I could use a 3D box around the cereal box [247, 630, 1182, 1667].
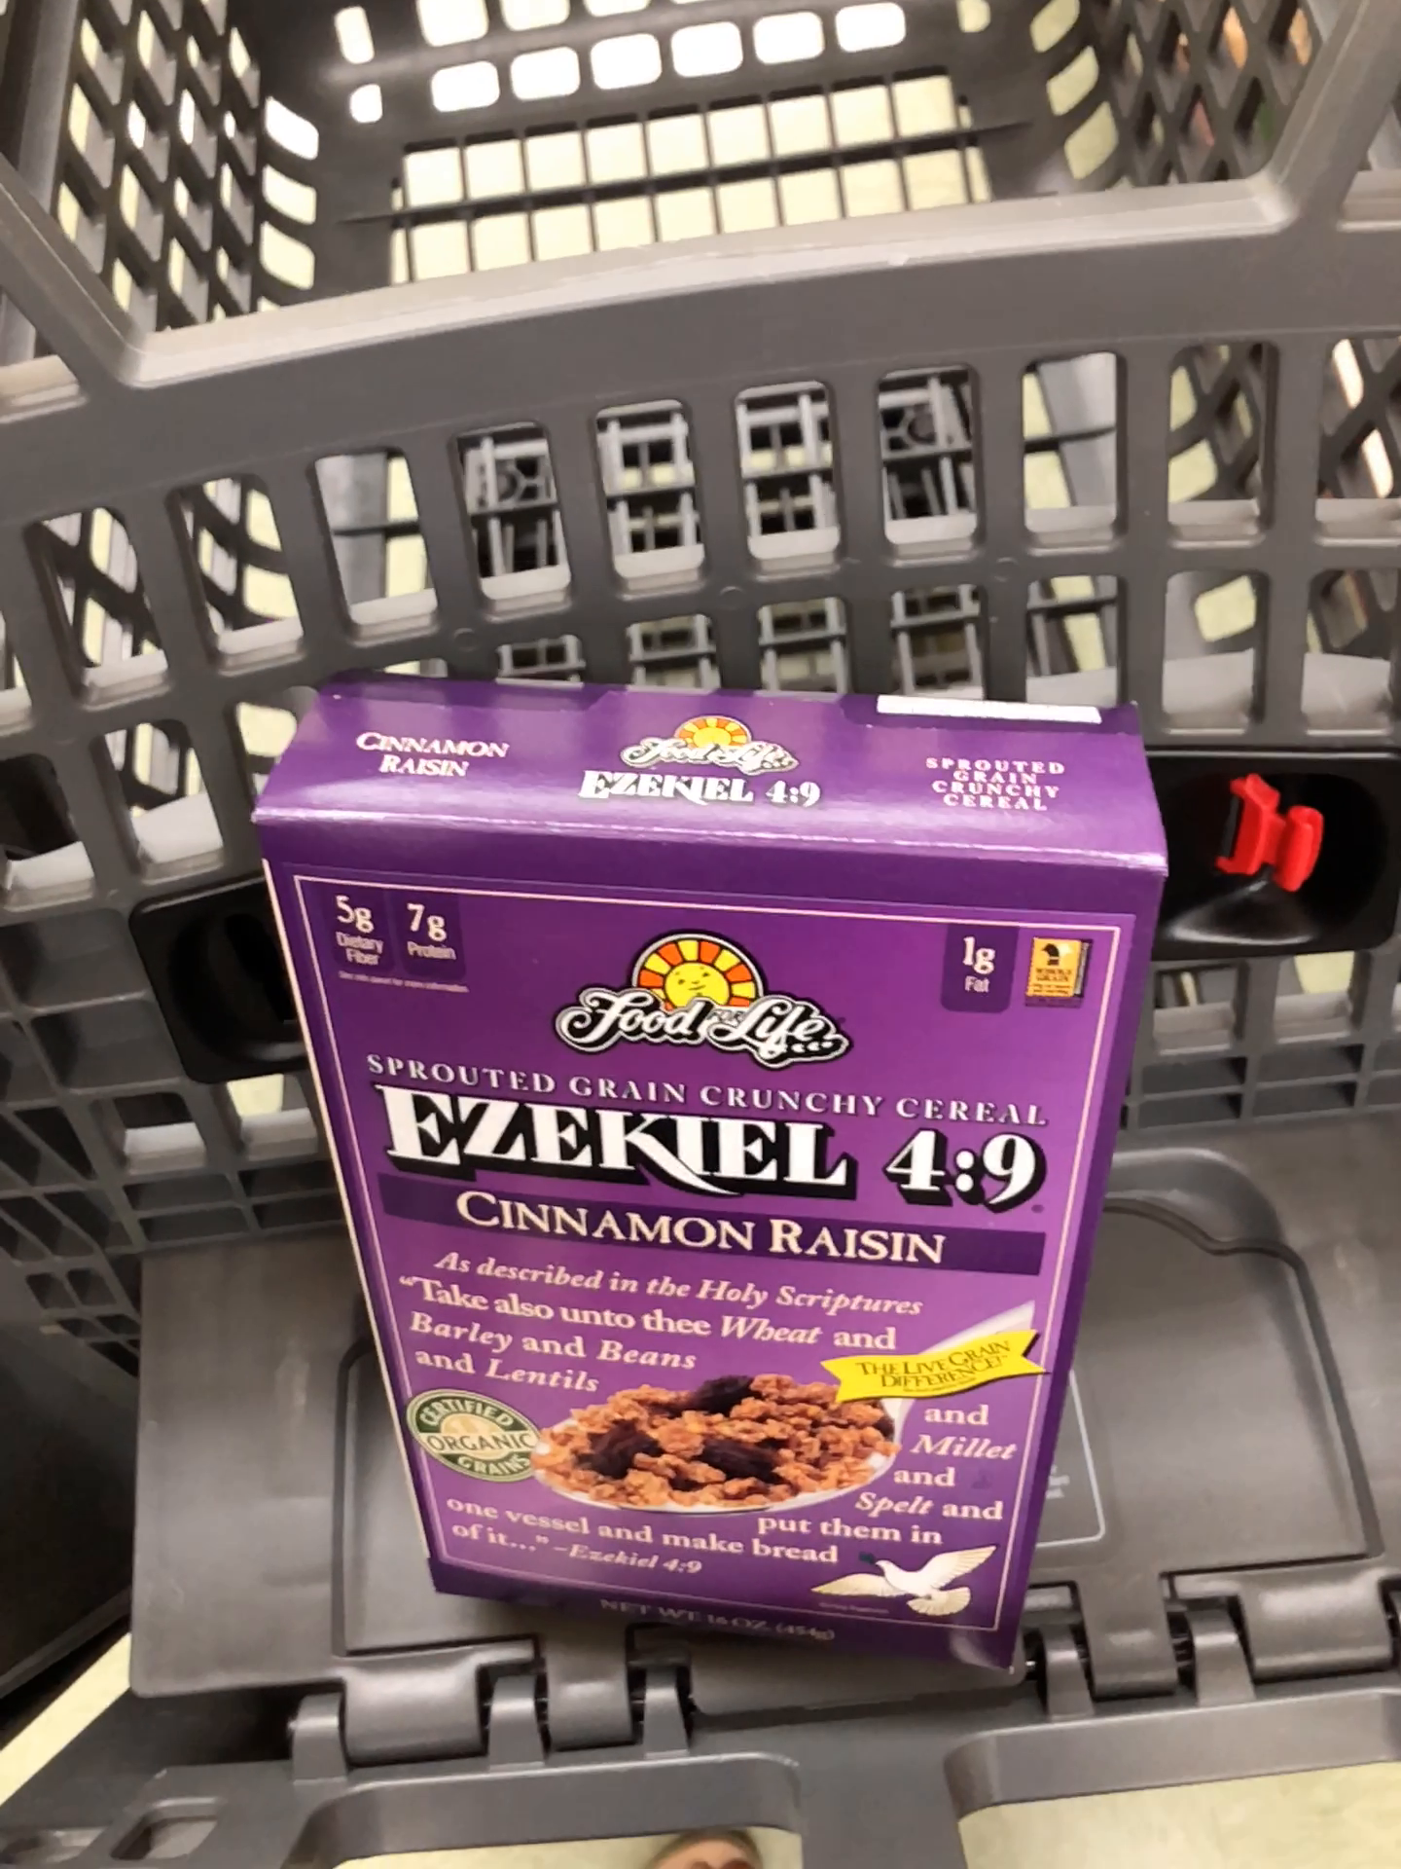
[{"bbox_3d":[0.005,0.063,0.348,0.150,0.250,0.060,4,38,6],"label":"cereal box"}]
